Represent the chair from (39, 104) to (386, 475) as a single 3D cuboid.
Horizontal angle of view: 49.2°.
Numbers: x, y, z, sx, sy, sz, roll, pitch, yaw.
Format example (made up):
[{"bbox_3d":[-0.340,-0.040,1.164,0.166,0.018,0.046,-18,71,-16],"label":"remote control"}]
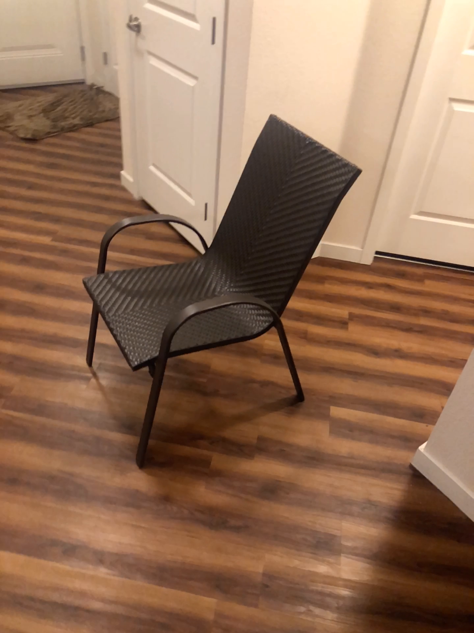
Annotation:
[{"bbox_3d":[-0.113,-0.121,1.663,0.749,0.853,0.599,-16,44,-26],"label":"chair"}]
